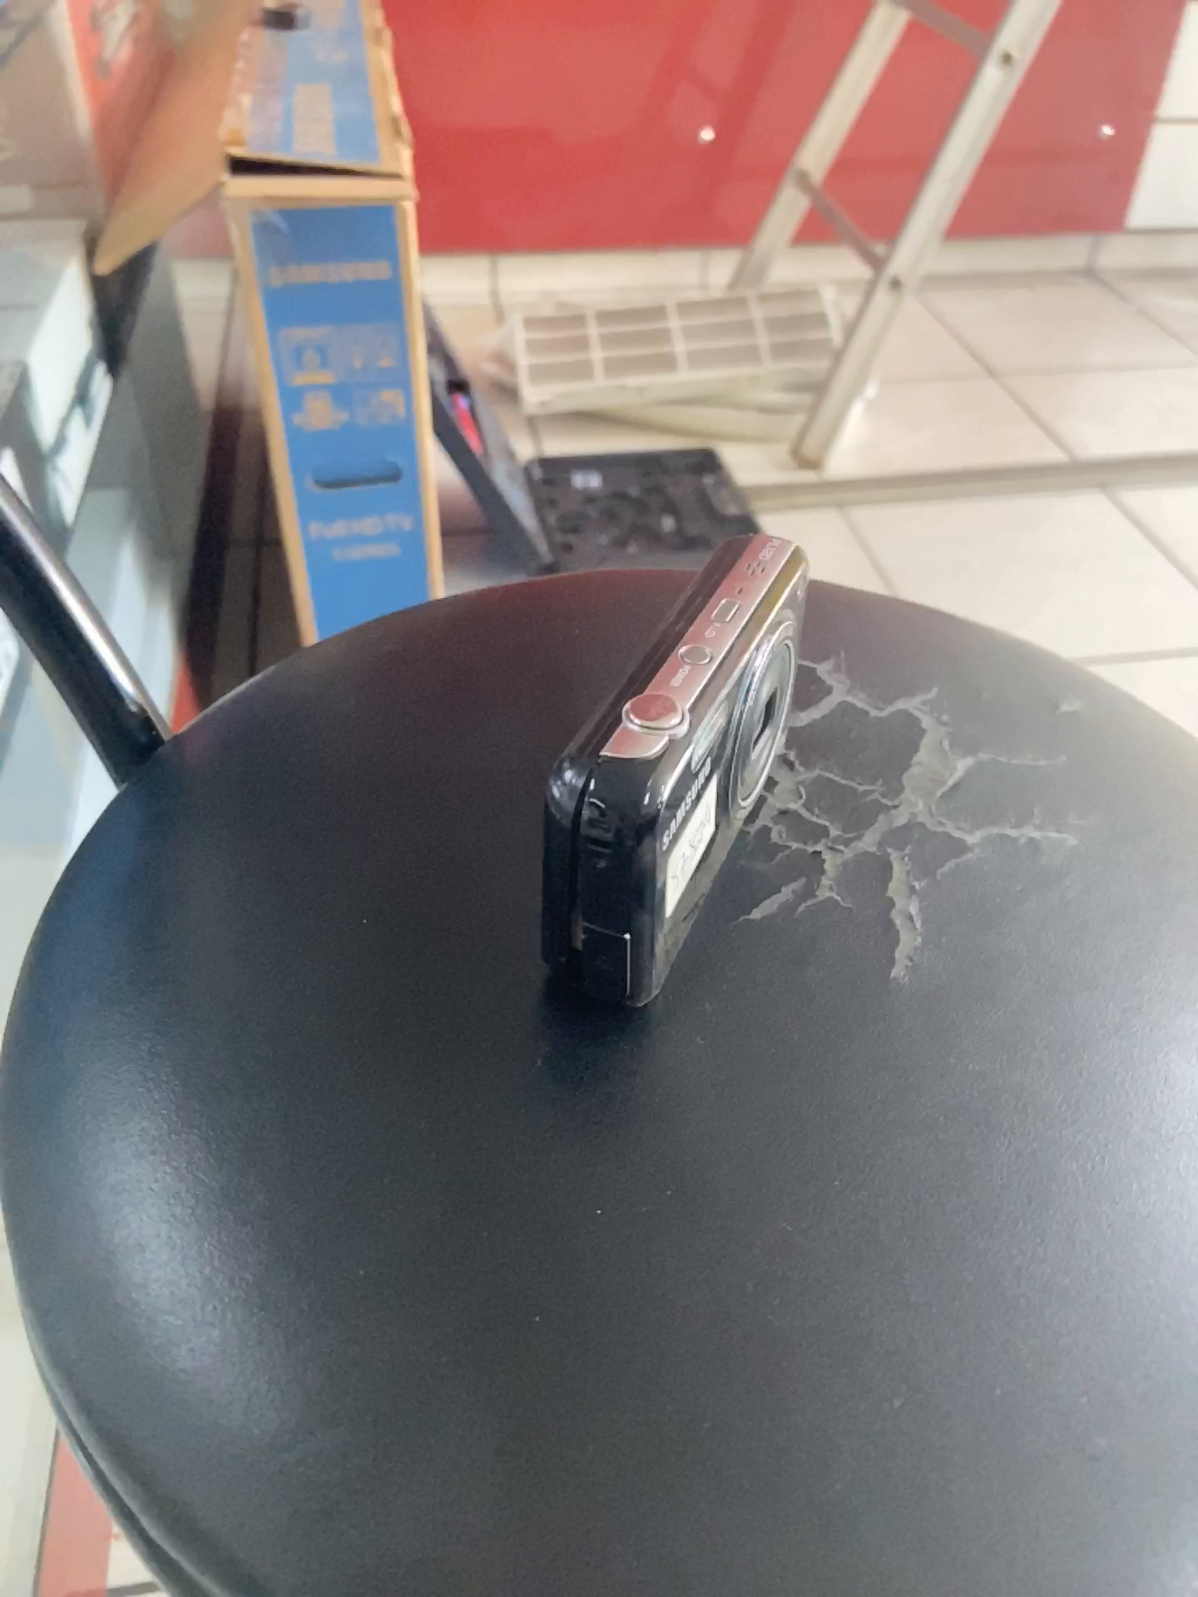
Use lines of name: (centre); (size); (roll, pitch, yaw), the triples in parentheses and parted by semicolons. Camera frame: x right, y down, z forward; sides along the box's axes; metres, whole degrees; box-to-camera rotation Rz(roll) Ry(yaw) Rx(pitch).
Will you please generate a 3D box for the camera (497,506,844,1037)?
camera: (0.017, -0.010, 0.246); (0.030, 0.050, 0.101); (17, 43, 17)
